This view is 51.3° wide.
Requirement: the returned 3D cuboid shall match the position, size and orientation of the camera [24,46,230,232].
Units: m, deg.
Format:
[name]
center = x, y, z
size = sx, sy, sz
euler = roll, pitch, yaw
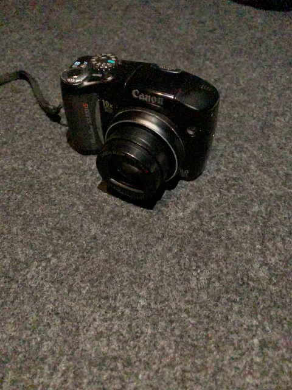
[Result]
[camera]
center = -0.010, -0.041, 0.218
size = 0.108, 0.079, 0.070
euler = 19, 54, 14
